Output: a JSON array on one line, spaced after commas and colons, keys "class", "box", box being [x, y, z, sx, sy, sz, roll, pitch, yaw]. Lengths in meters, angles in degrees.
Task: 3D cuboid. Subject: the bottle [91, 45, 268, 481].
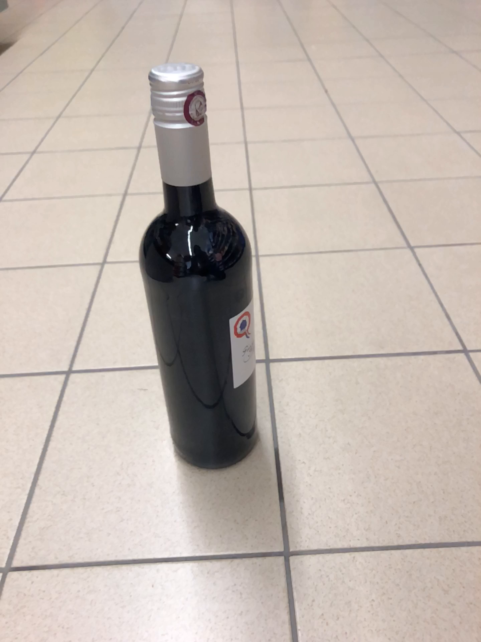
[{"class": "bottle", "box": [-0.029, -0.017, 0.374, 0.080, 0.298, 0.080, -2, 38, 1]}]
